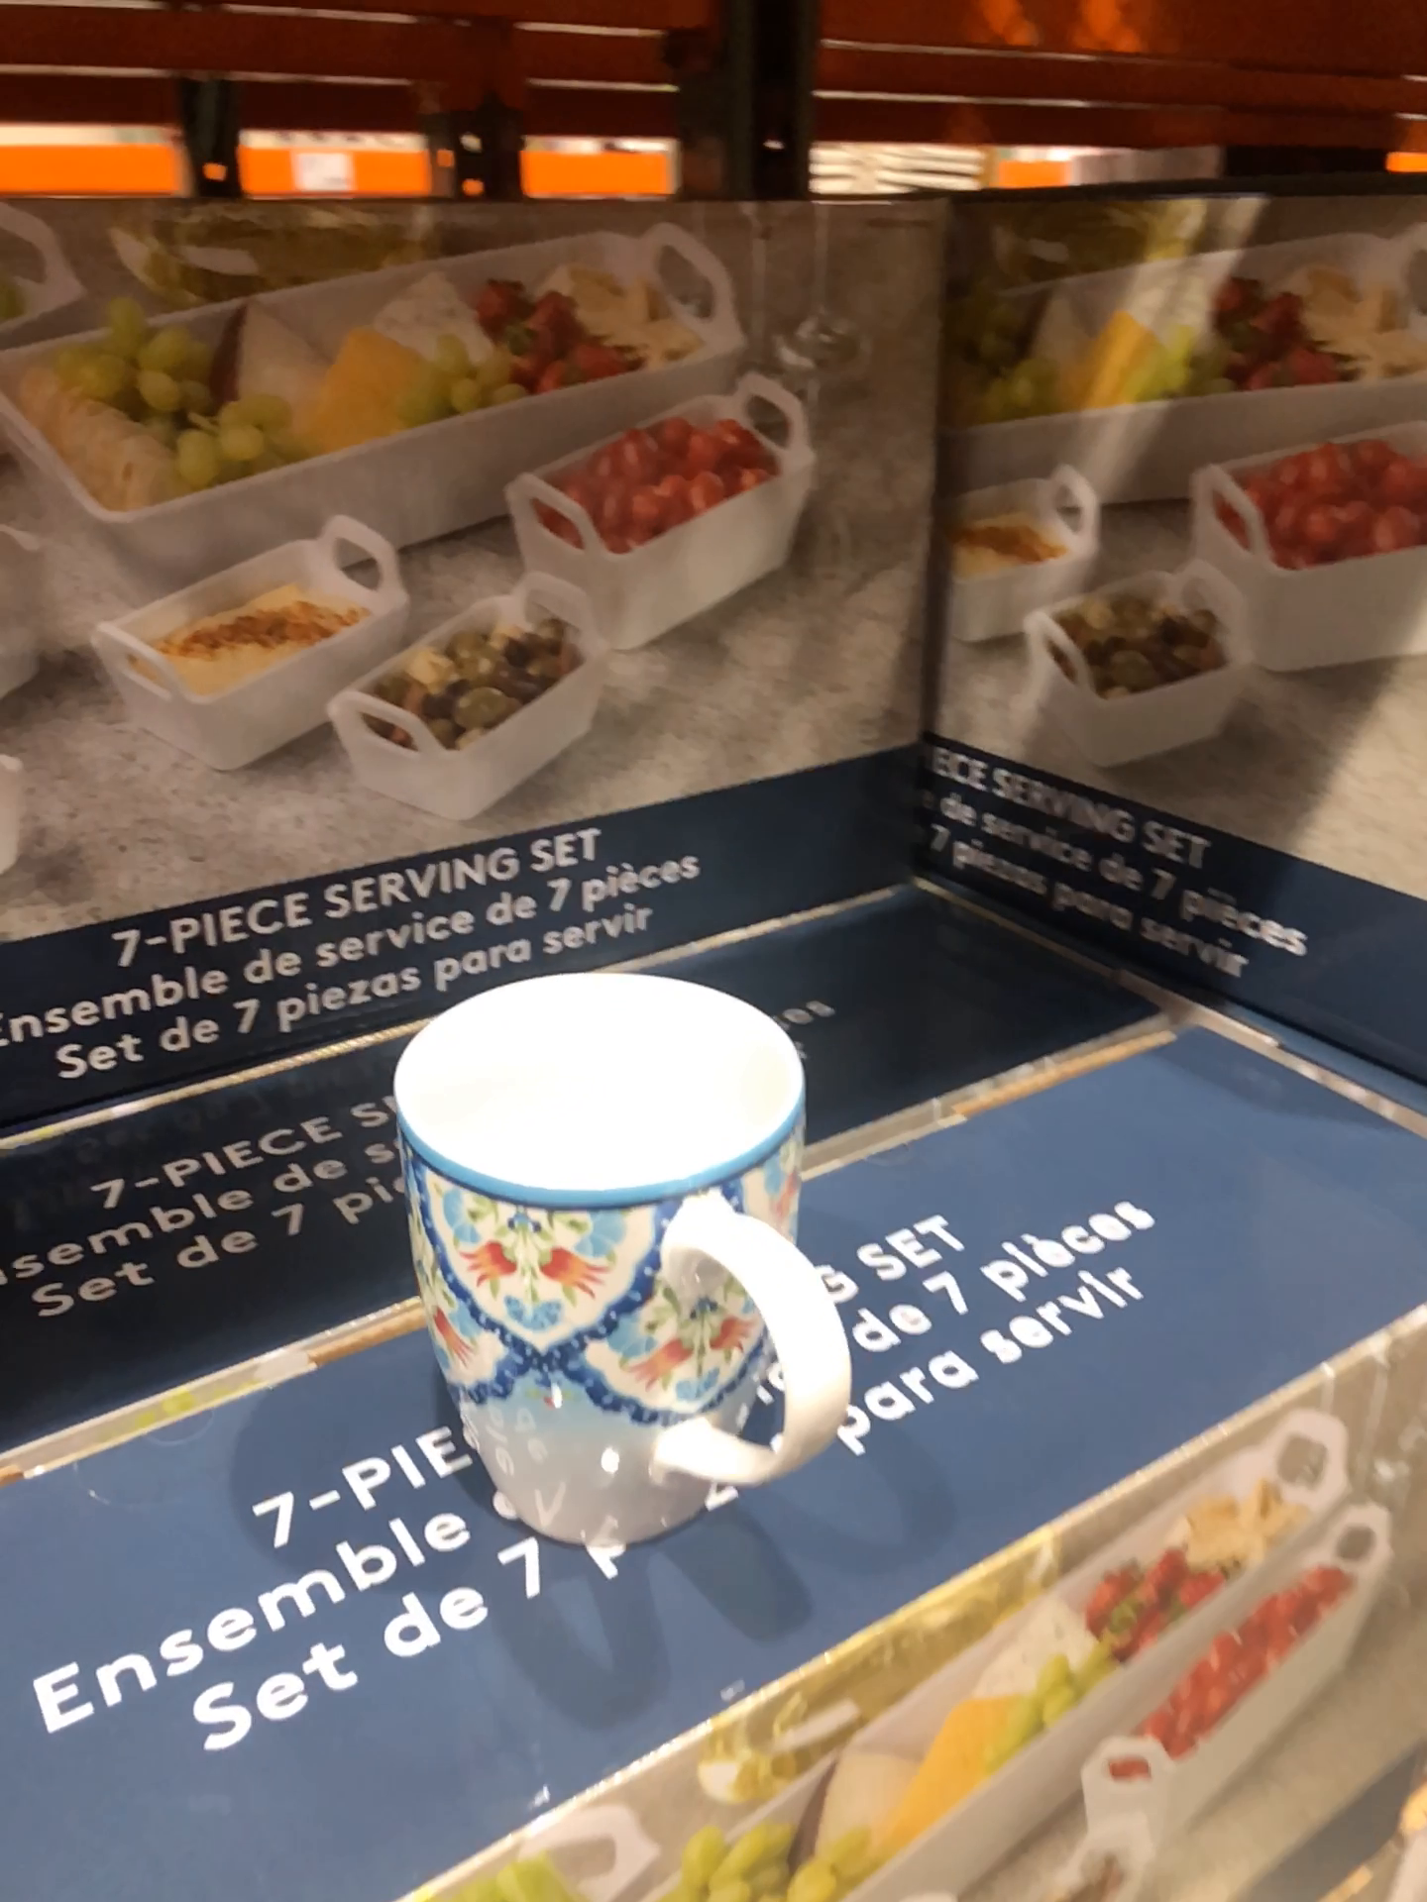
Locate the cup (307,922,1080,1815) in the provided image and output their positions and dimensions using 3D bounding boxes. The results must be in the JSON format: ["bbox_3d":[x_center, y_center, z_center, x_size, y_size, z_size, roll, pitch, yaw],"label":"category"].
[{"bbox_3d":[-0.010,0.071,0.326,0.089,0.096,0.137,-16,29,-31],"label":"cup"}]
